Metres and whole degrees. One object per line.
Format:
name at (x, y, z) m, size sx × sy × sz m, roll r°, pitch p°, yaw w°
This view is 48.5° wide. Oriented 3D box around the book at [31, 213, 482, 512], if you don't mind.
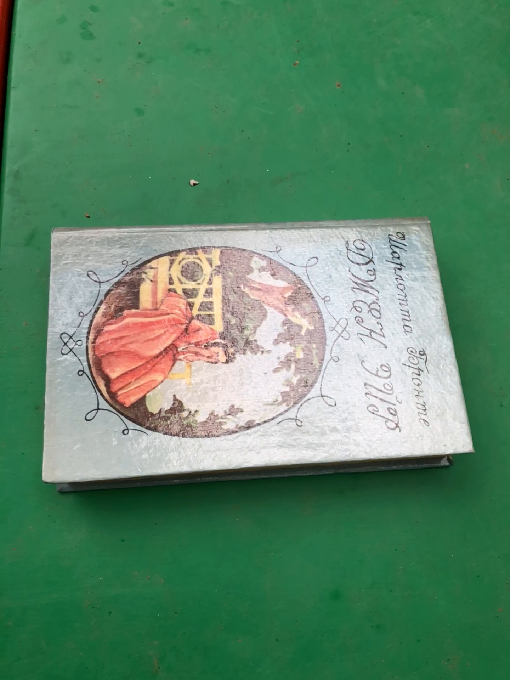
book at (-0.002, 0.007, 0.281) m, size 0.196 × 0.030 × 0.135 m, roll -3°, pitch 71°, yaw -5°
